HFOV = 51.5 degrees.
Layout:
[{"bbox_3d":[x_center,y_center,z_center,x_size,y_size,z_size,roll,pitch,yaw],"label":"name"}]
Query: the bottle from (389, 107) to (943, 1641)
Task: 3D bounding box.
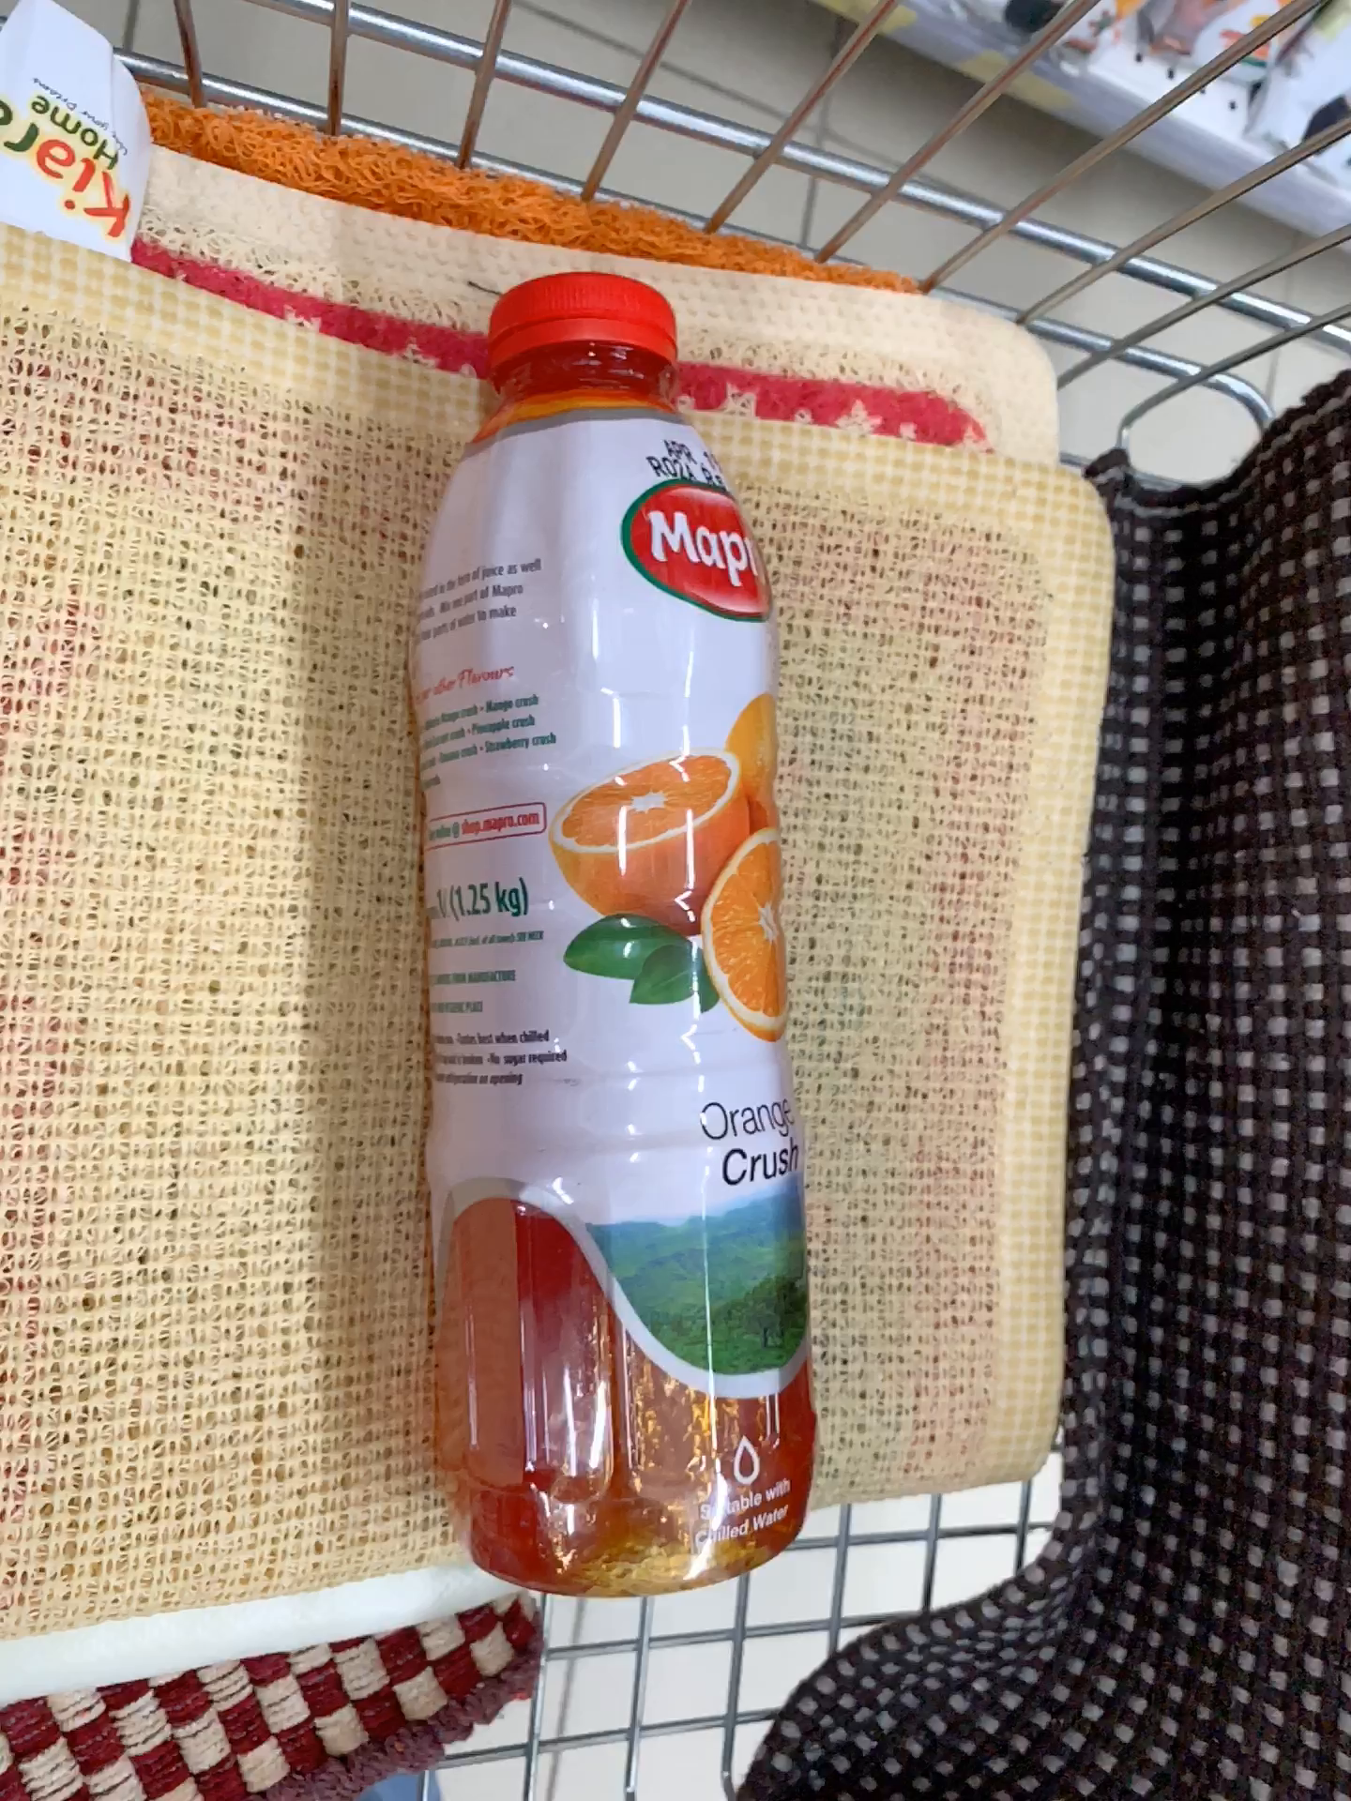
[{"bbox_3d":[-0.001,-0.004,0.272,0.080,0.070,0.240,2,87,-47],"label":"bottle"}]
